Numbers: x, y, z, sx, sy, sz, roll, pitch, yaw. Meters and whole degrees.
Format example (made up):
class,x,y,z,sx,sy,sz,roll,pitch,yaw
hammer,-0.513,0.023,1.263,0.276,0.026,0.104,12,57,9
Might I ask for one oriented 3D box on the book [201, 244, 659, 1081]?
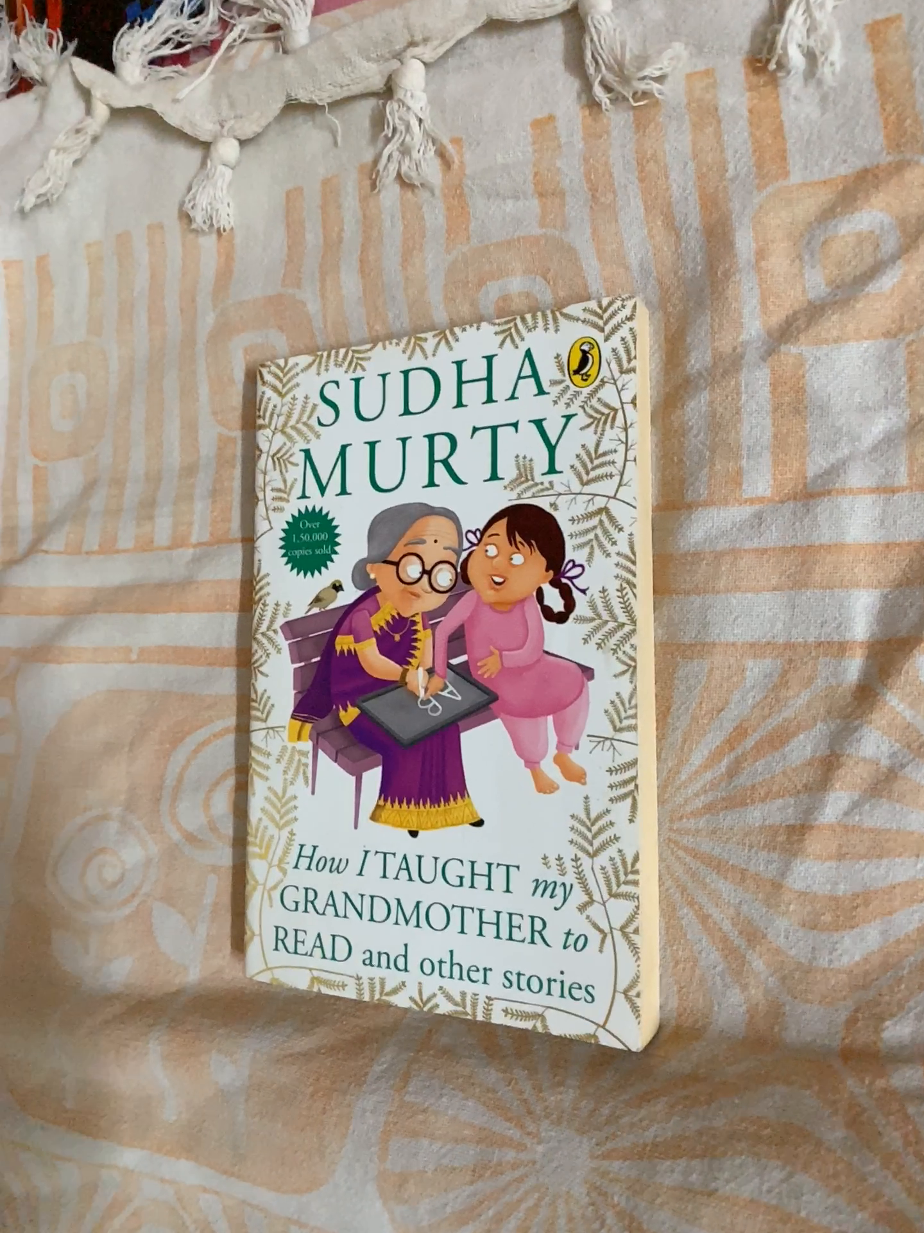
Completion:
class,x,y,z,sx,sy,sz,roll,pitch,yaw
book,-0.012,0.009,0.268,0.130,0.020,0.200,-3,82,28
